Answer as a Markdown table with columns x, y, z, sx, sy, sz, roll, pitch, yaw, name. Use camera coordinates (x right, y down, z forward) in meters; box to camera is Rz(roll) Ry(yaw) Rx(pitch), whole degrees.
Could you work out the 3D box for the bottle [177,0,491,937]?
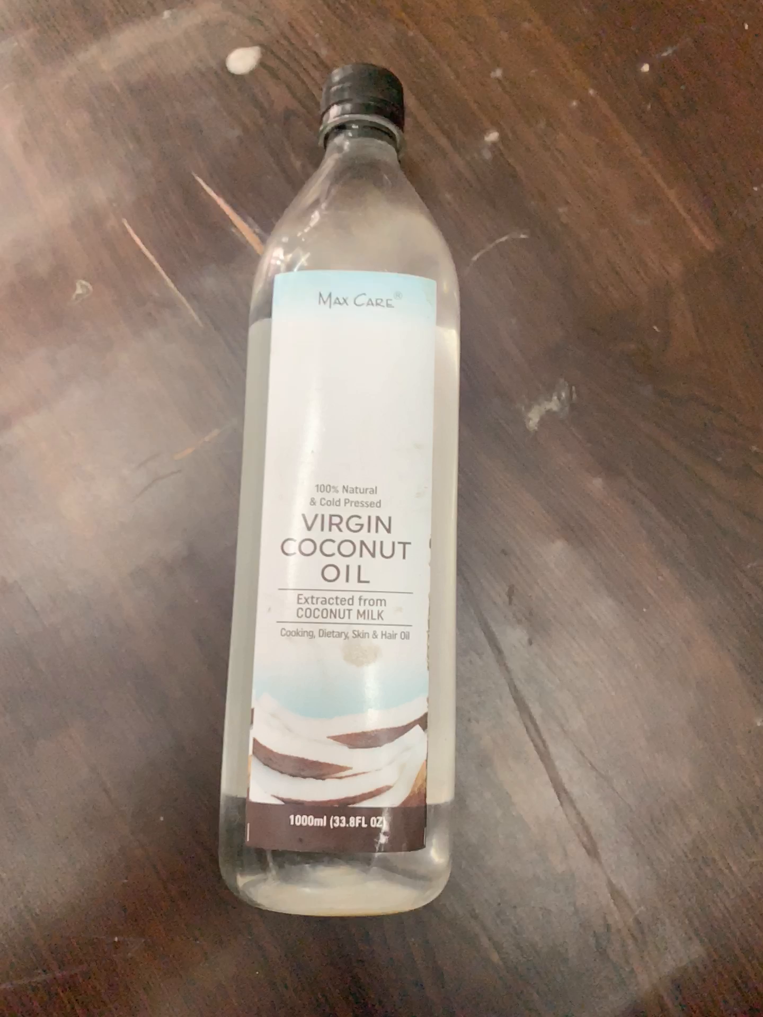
| x | y | z | sx | sy | sz | roll | pitch | yaw | name |
| --- | --- | --- | --- | --- | --- | --- | --- | --- | --- |
| -0.011 | -0.027 | 0.262 | 0.080 | 0.070 | 0.290 | 2 | 81 | -2 | bottle |
